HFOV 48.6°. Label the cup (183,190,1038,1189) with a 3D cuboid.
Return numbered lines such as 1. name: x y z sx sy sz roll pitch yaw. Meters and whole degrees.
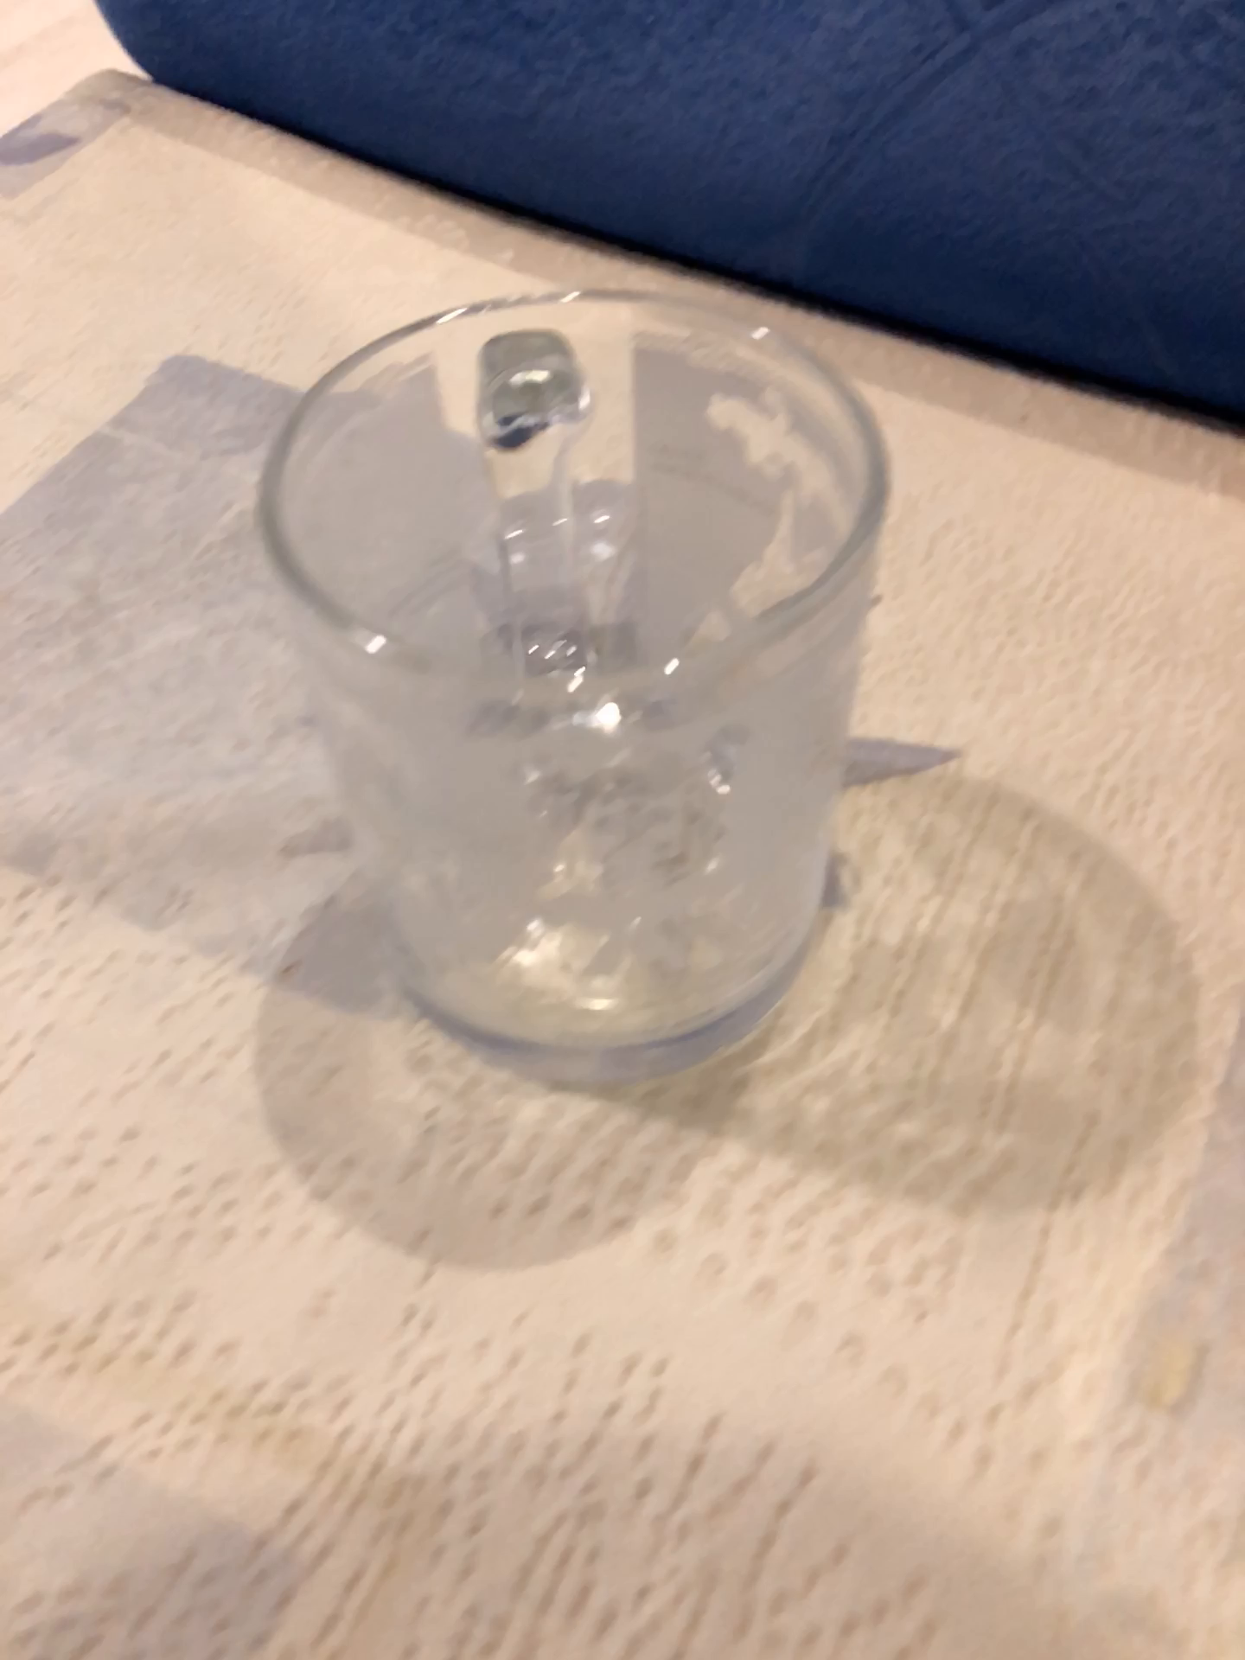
1. cup: -0.010 -0.025 0.211 0.090 0.079 0.121 -8 52 -6
